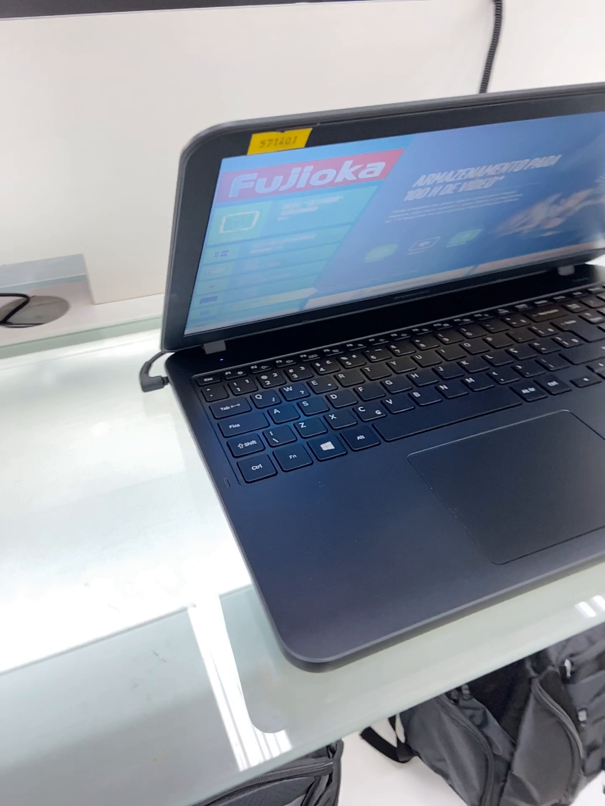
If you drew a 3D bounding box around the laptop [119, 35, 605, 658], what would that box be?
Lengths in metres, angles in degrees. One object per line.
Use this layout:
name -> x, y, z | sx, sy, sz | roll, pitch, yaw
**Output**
laptop -> 0.126, -0.081, 0.339 | 0.373, 0.173, 0.246 | -14, 37, -18
